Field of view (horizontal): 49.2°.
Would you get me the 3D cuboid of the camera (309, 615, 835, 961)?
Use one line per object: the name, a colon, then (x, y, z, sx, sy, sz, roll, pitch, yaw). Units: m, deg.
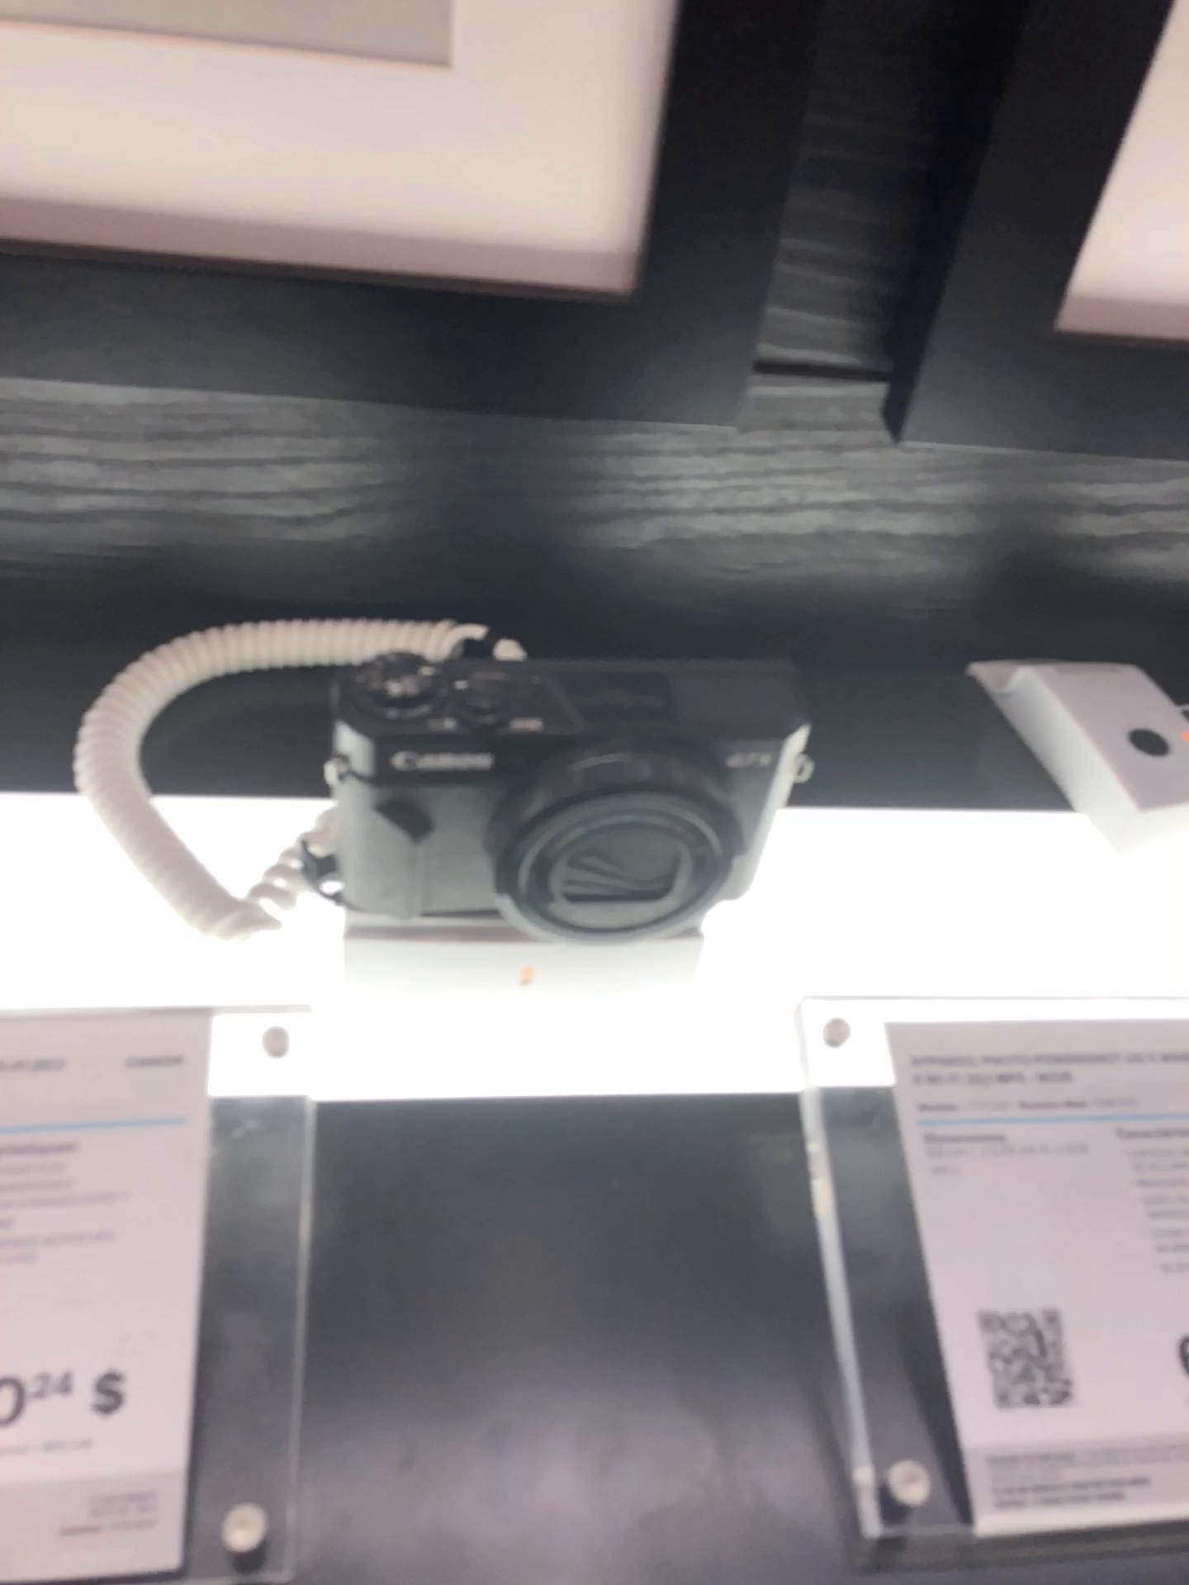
camera: (-0.010, 0.001, 0.305, 0.110, 0.079, 0.030, 0, 43, -11)
